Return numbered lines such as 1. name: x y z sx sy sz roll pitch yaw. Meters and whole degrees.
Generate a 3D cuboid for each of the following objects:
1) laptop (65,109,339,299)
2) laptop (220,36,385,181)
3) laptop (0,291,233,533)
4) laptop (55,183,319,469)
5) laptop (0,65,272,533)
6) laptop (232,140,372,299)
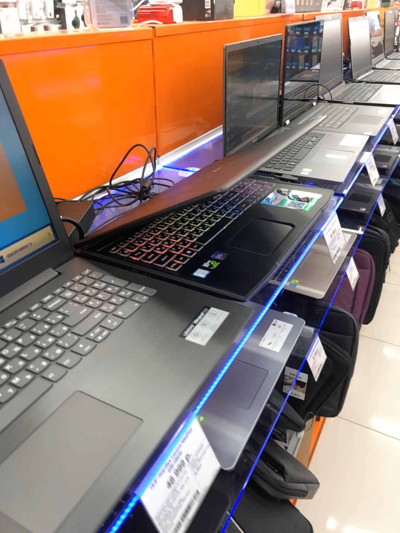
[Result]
1. laptop: 0.032 -0.126 0.642 0.243 0.121 0.365 15 33 24
2. laptop: 0.229 -0.356 0.939 0.230 0.216 0.353 13 33 21
3. laptop: -0.177 0.269 0.435 0.272 0.270 0.408 14 33 25
4. laptop: 0.008 0.060 0.793 0.287 0.256 0.396 16 34 23
5. laptop: -0.171 -0.012 0.338 0.318 0.228 0.360 14 32 23
6. laptop: 0.268 -0.142 1.131 0.230 0.240 0.360 16 35 24
